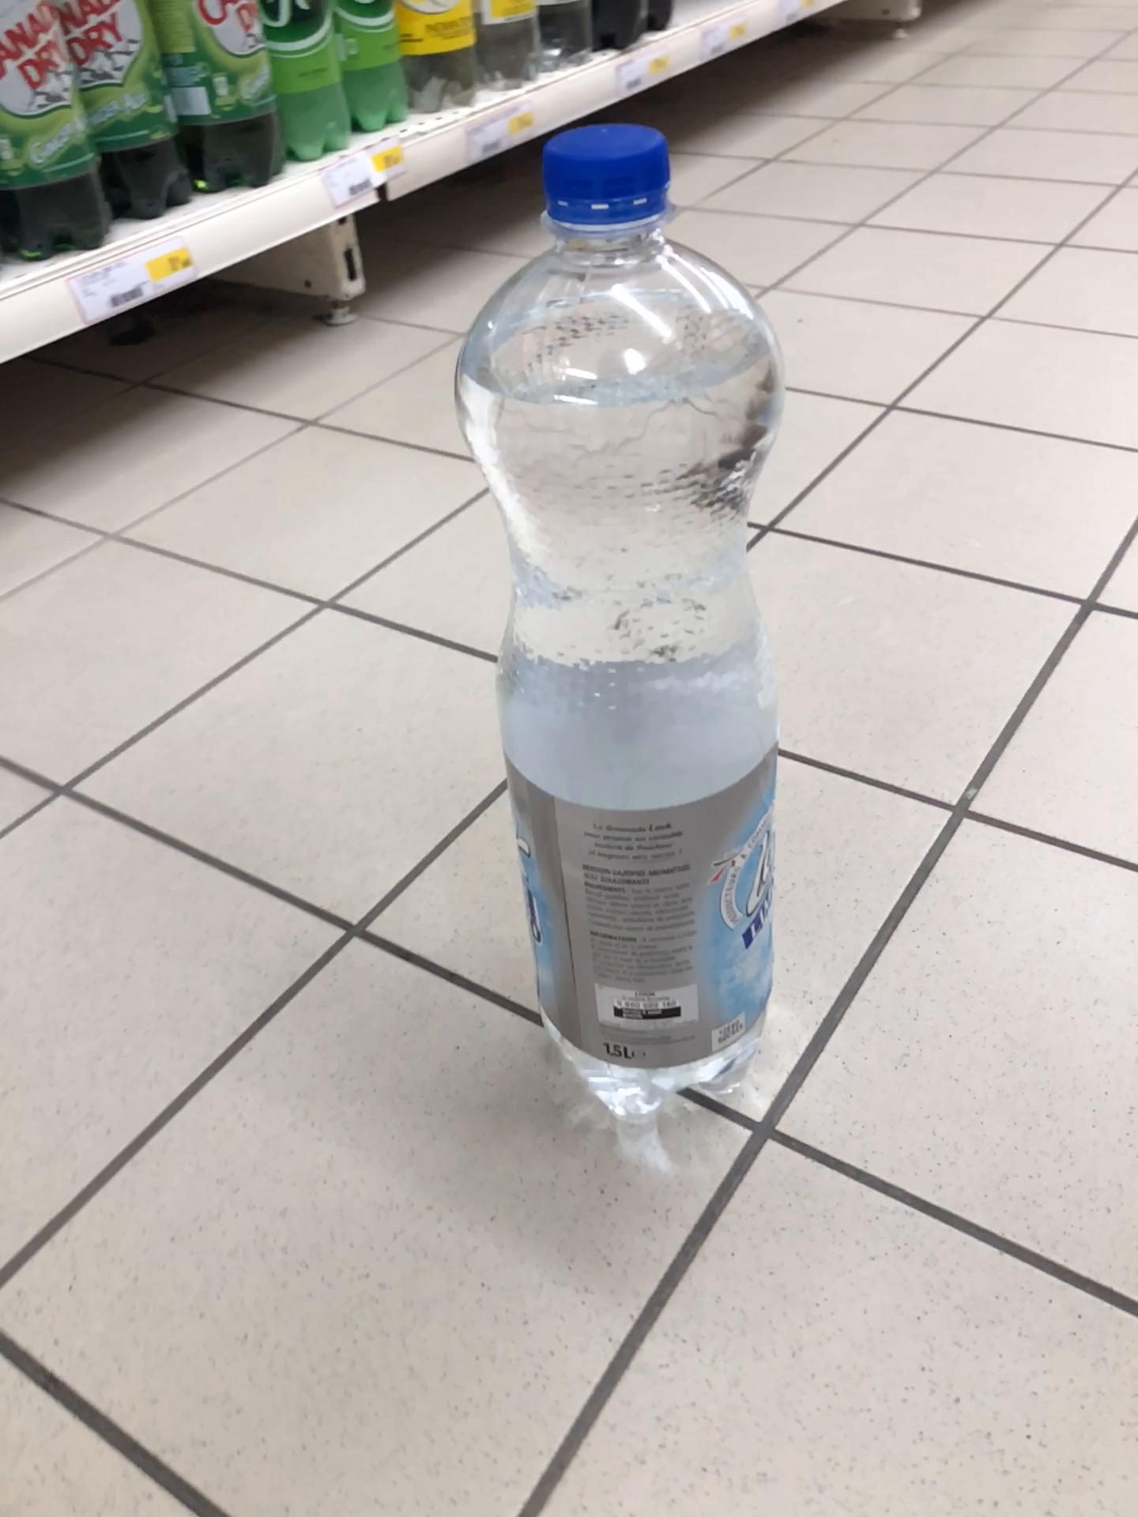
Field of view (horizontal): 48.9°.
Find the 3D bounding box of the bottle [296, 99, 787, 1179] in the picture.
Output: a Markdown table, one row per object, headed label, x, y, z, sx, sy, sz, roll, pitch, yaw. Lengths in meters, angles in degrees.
| label | x | y | z | sx | sy | sz | roll | pitch | yaw |
| --- | --- | --- | --- | --- | --- | --- | --- | --- | --- |
| bottle | 0.006 | -0.011 | 0.394 | 0.100 | 0.328 | 0.101 | -4 | 38 | 3 |
